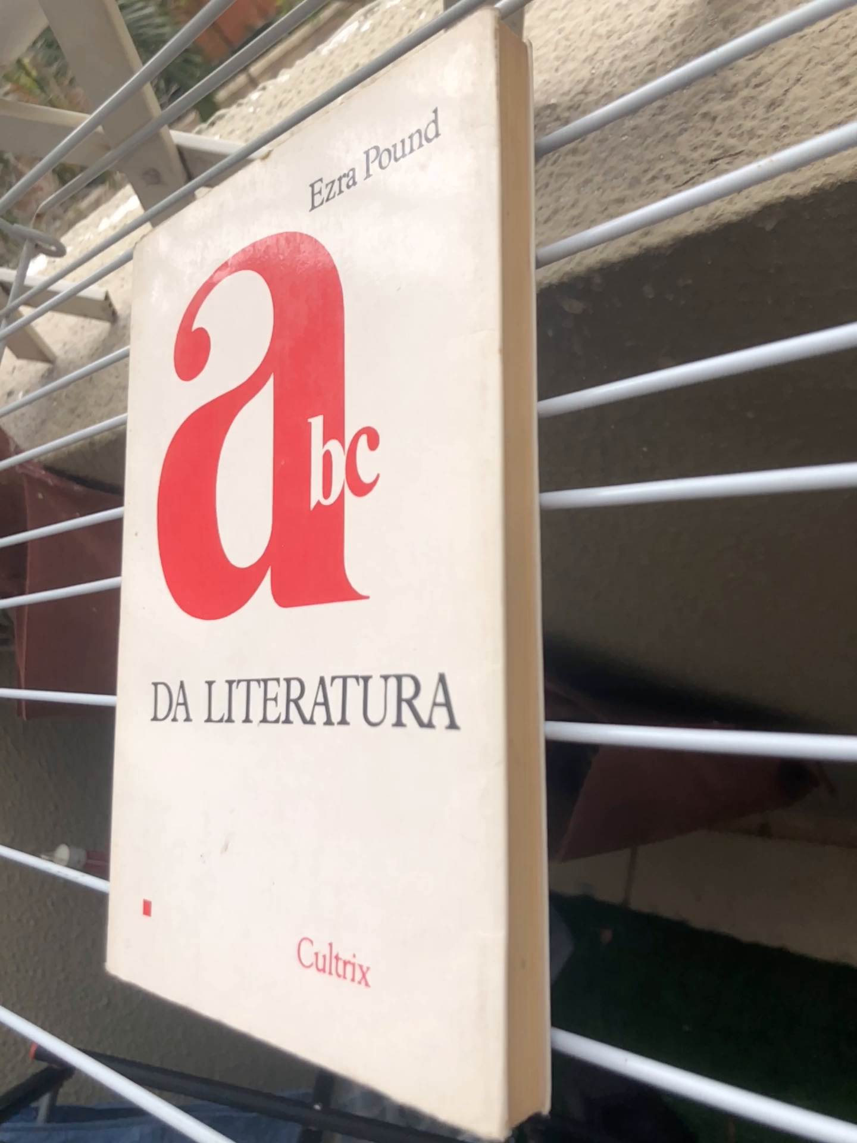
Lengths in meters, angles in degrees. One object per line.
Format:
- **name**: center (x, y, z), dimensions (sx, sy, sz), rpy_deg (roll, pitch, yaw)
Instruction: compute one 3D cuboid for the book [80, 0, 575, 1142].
- **book**: center (-0.033, 0.001, 0.208), dimensions (0.141, 0.017, 0.187), rpy_deg (-8, 80, 45)
